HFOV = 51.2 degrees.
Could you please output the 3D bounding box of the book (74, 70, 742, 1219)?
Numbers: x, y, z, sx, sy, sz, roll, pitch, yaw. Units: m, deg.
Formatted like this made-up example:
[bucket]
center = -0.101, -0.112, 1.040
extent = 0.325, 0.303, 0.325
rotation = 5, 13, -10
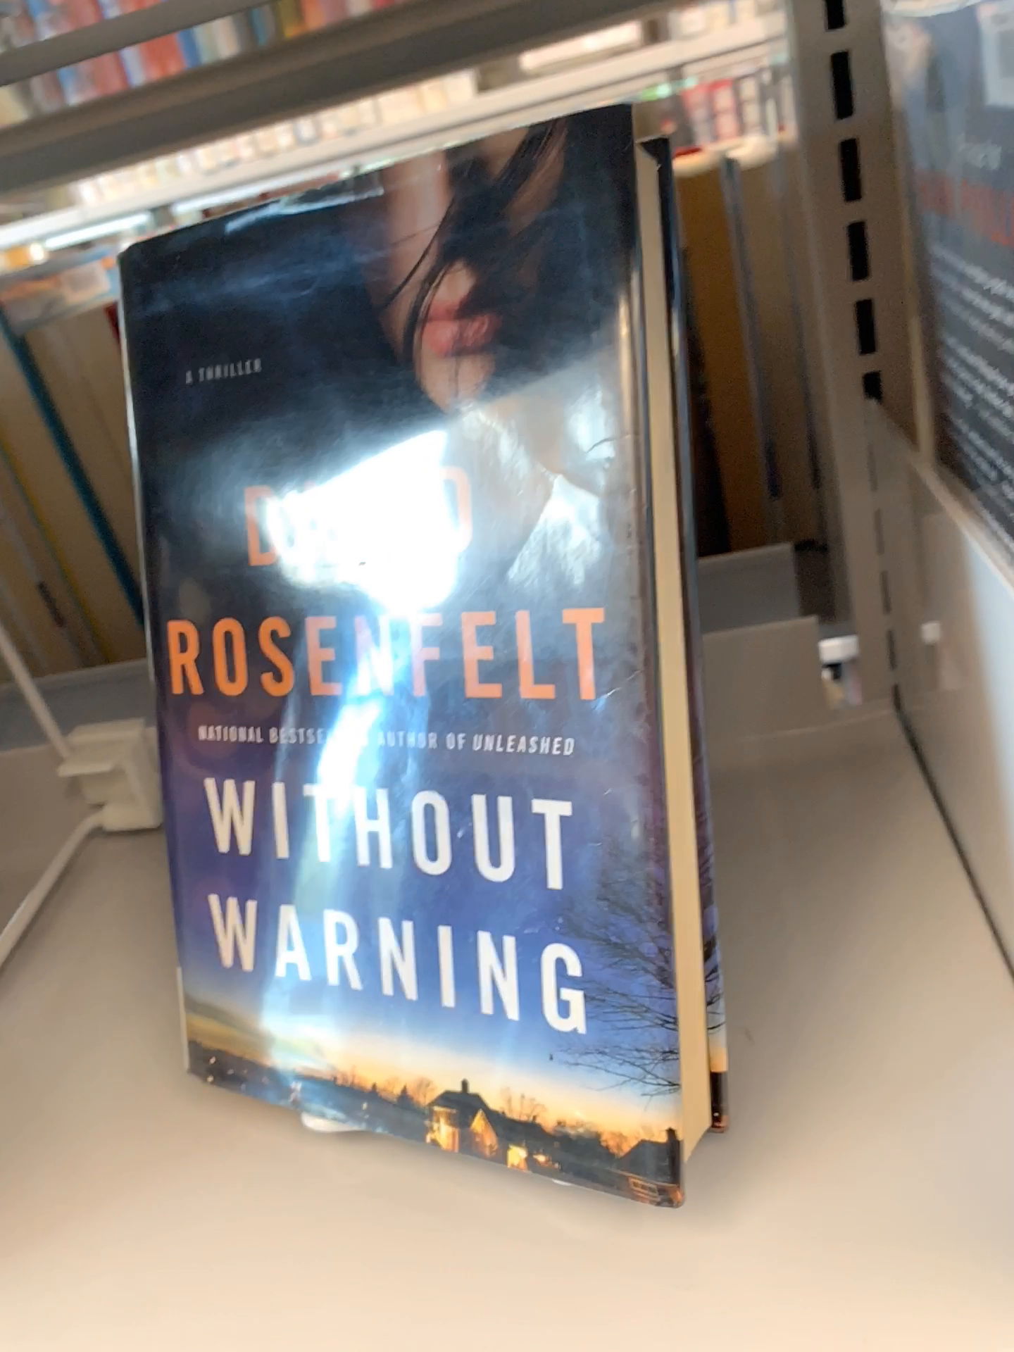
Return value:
[book]
center = -0.028, -0.002, 0.265
extent = 0.157, 0.230, 0.035
rotation = 1, 9, 30
